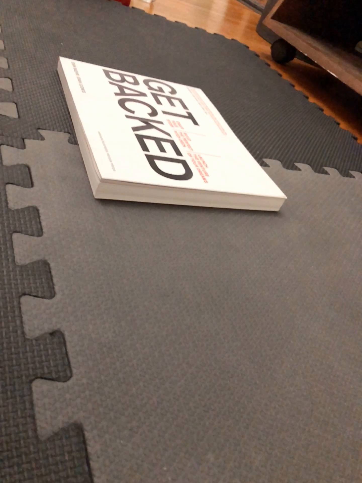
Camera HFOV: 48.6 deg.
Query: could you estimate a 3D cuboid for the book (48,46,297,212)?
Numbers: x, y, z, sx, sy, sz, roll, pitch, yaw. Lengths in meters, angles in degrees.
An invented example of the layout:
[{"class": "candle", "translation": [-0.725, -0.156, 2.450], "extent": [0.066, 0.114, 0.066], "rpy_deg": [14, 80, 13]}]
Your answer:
[{"class": "book", "translation": [-0.022, -0.130, 0.440], "extent": [0.210, 0.020, 0.261], "rpy_deg": [1, 43, -27]}]
